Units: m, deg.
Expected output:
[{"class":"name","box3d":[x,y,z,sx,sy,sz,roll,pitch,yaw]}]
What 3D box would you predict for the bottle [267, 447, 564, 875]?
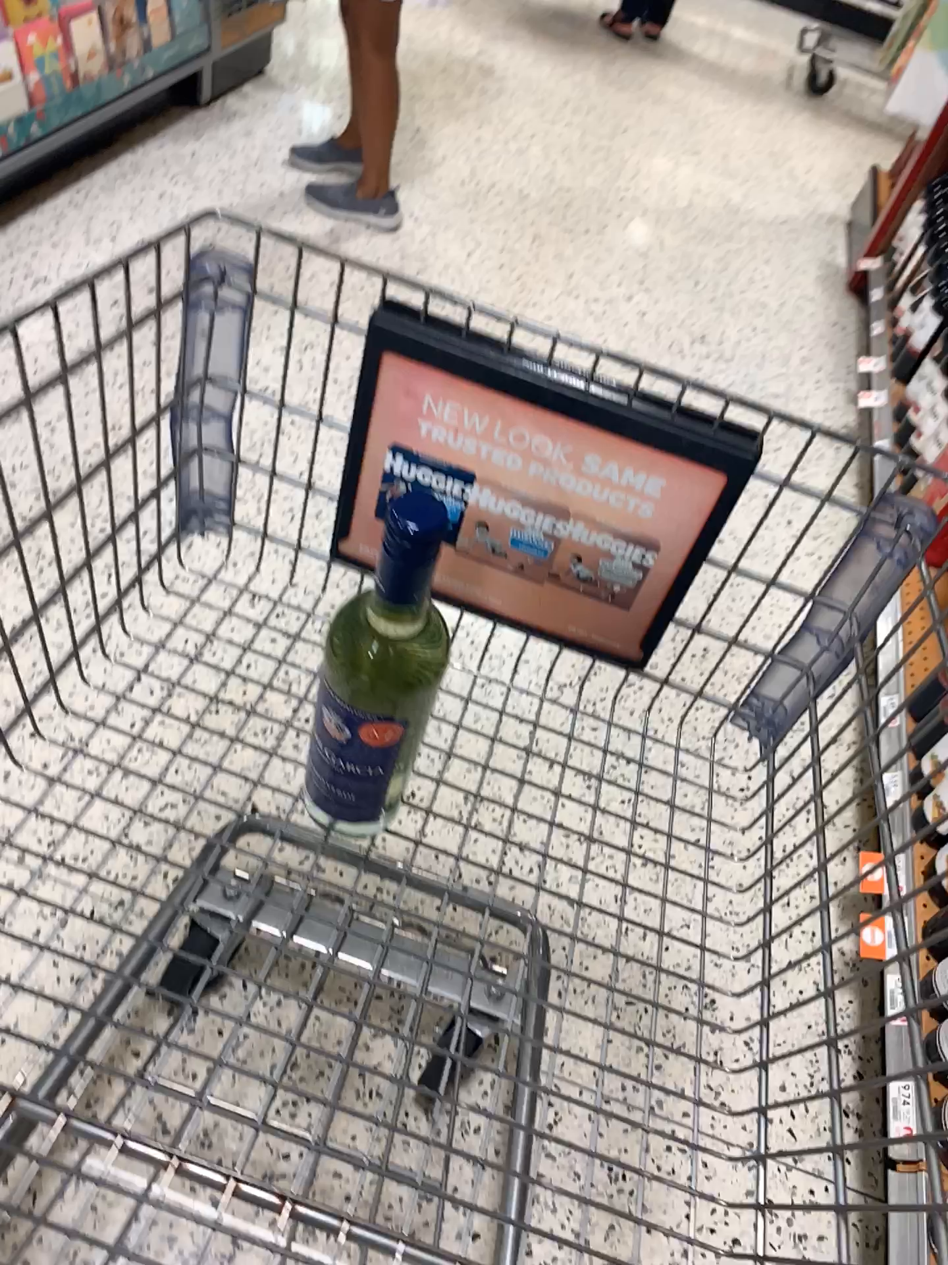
[{"class":"bottle","box3d":[-0.049,0.032,0.600,0.090,0.277,0.081,37,48,12]}]
